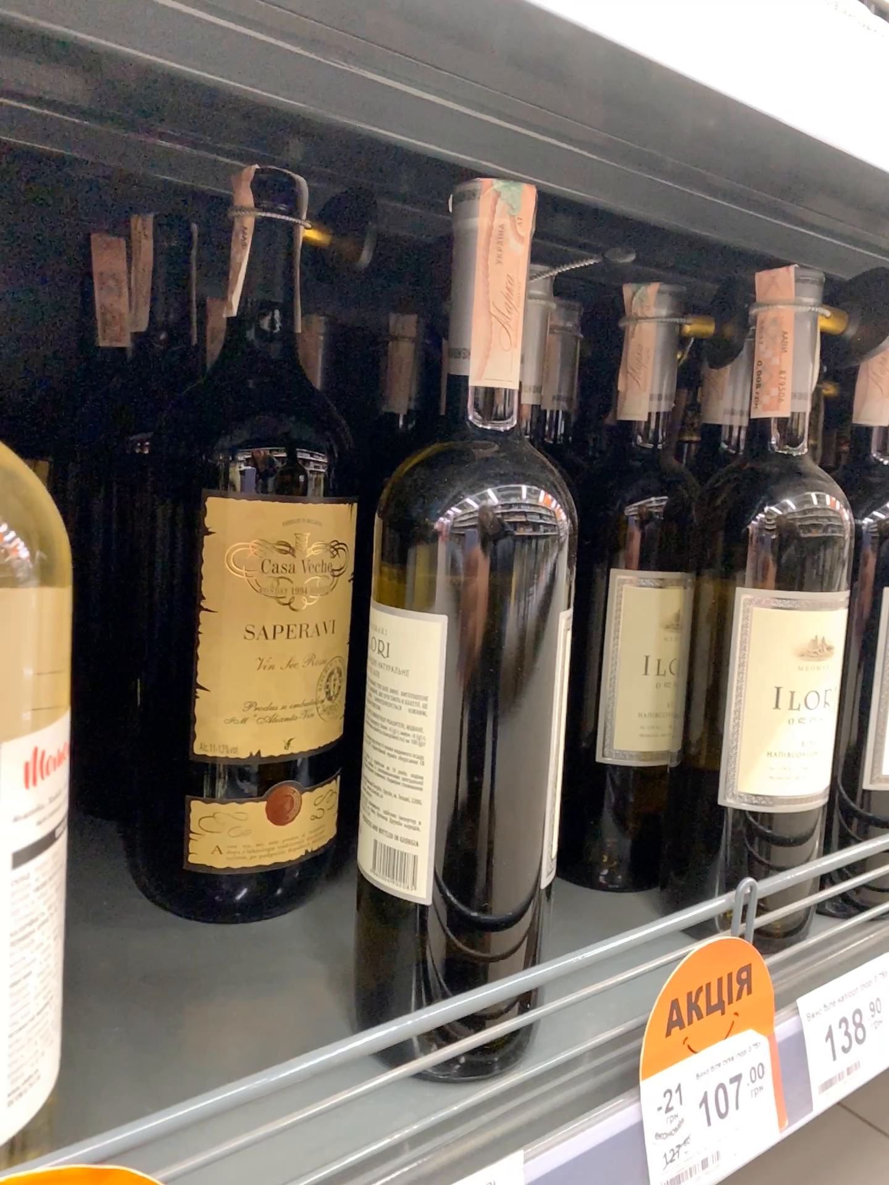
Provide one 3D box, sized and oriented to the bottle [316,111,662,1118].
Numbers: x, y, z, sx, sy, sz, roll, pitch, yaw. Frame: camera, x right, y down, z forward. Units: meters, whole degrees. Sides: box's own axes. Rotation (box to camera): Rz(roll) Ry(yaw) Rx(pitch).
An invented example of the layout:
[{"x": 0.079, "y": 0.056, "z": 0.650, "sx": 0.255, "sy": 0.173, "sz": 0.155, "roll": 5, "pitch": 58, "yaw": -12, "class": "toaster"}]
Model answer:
[{"x": 0.010, "y": 0.012, "z": 0.334, "sx": 0.069, "sy": 0.319, "sz": 0.070, "roll": 5, "pitch": 8, "yaw": -1, "class": "bottle"}]
